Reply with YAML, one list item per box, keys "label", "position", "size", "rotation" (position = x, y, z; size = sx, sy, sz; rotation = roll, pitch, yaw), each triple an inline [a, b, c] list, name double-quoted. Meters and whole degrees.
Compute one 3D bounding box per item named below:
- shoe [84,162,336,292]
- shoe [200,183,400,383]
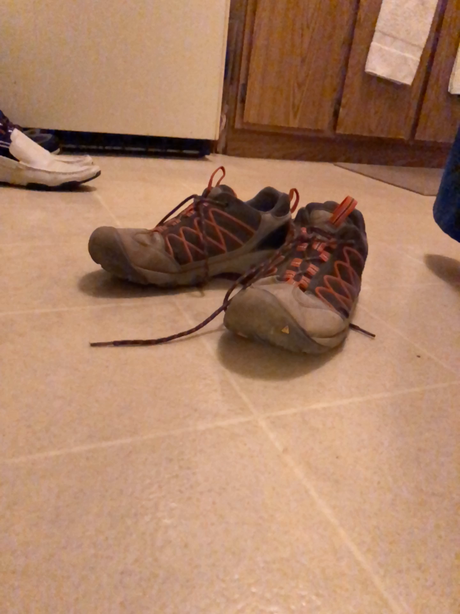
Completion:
- label: "shoe"
  position: [-0.028, -0.111, 0.662]
  size: [0.292, 0.121, 0.127]
  rotation: [-6, 26, -26]
- label: "shoe"
  position: [0.094, -0.051, 0.568]
  size: [0.127, 0.121, 0.283]
  rotation: [16, 25, 20]
